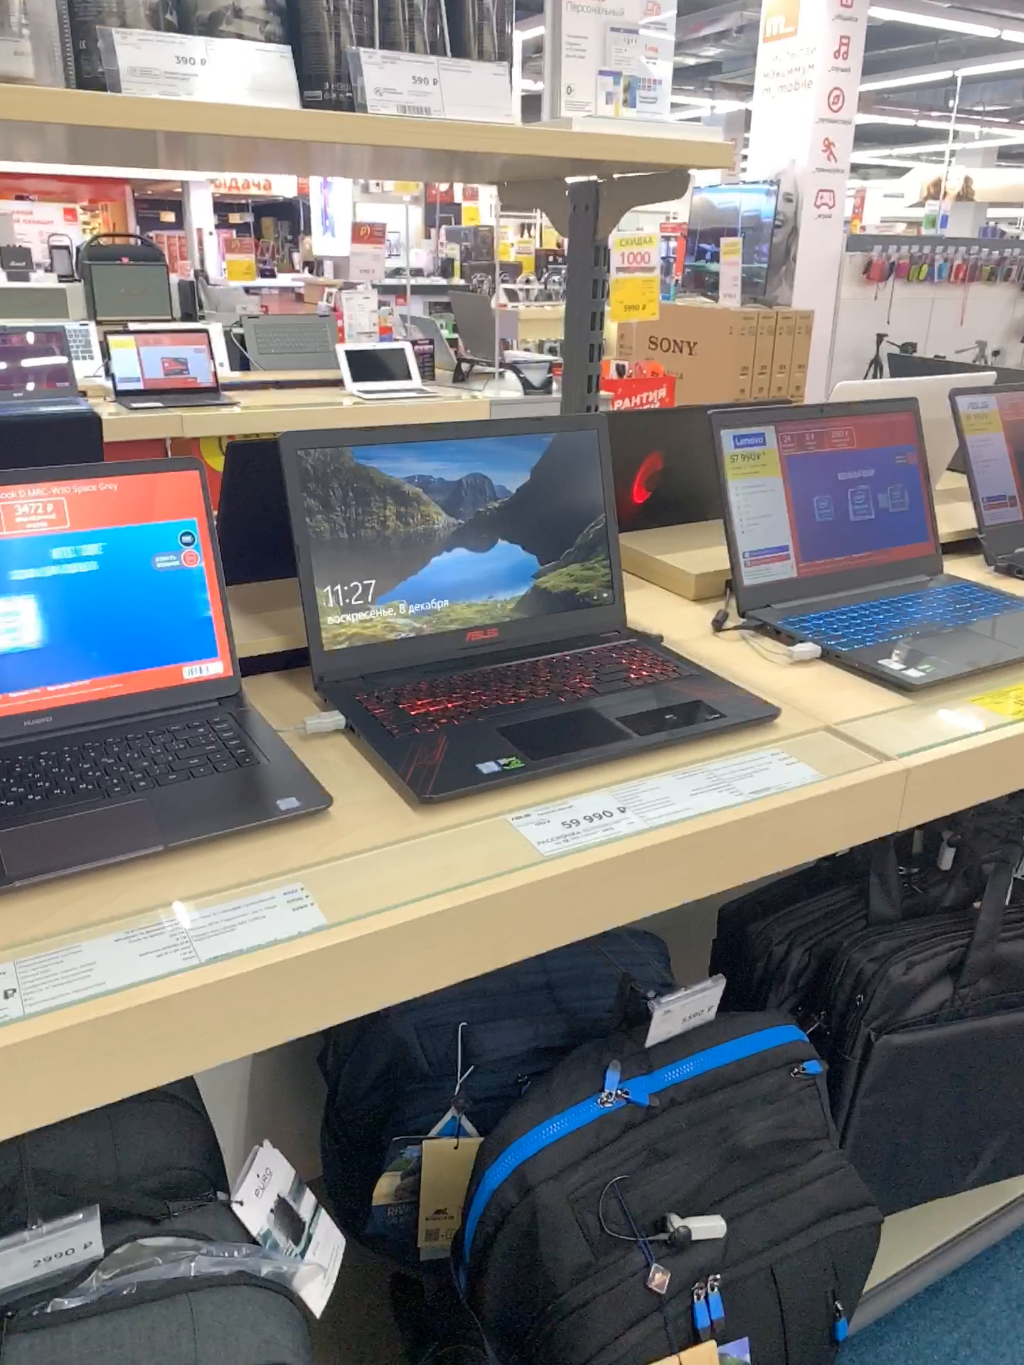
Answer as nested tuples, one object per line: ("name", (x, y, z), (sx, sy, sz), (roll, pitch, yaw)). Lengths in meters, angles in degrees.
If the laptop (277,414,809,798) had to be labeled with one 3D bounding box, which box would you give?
("laptop", (0.014, -0.103, 0.978), (0.366, 0.230, 0.318), (-11, 25, -27))
